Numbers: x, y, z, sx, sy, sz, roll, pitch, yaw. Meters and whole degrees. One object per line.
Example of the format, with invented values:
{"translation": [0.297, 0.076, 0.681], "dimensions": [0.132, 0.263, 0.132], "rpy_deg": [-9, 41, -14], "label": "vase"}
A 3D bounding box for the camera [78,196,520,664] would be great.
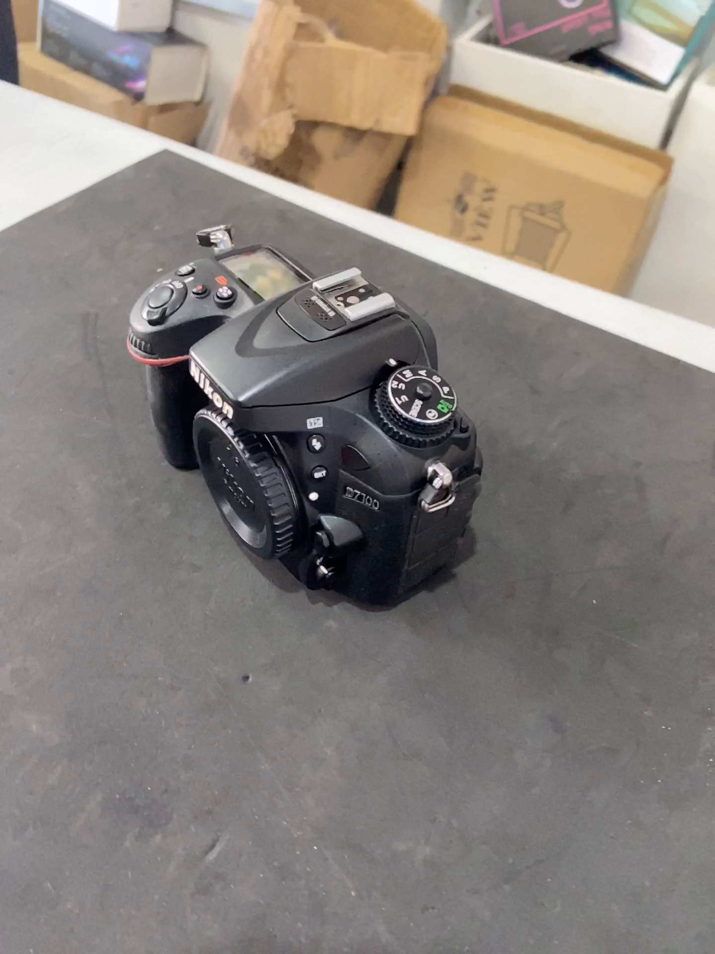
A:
{"translation": [-0.027, -0.024, 0.280], "dimensions": [0.078, 0.092, 0.140], "rpy_deg": [-31, 57, -28], "label": "camera"}
